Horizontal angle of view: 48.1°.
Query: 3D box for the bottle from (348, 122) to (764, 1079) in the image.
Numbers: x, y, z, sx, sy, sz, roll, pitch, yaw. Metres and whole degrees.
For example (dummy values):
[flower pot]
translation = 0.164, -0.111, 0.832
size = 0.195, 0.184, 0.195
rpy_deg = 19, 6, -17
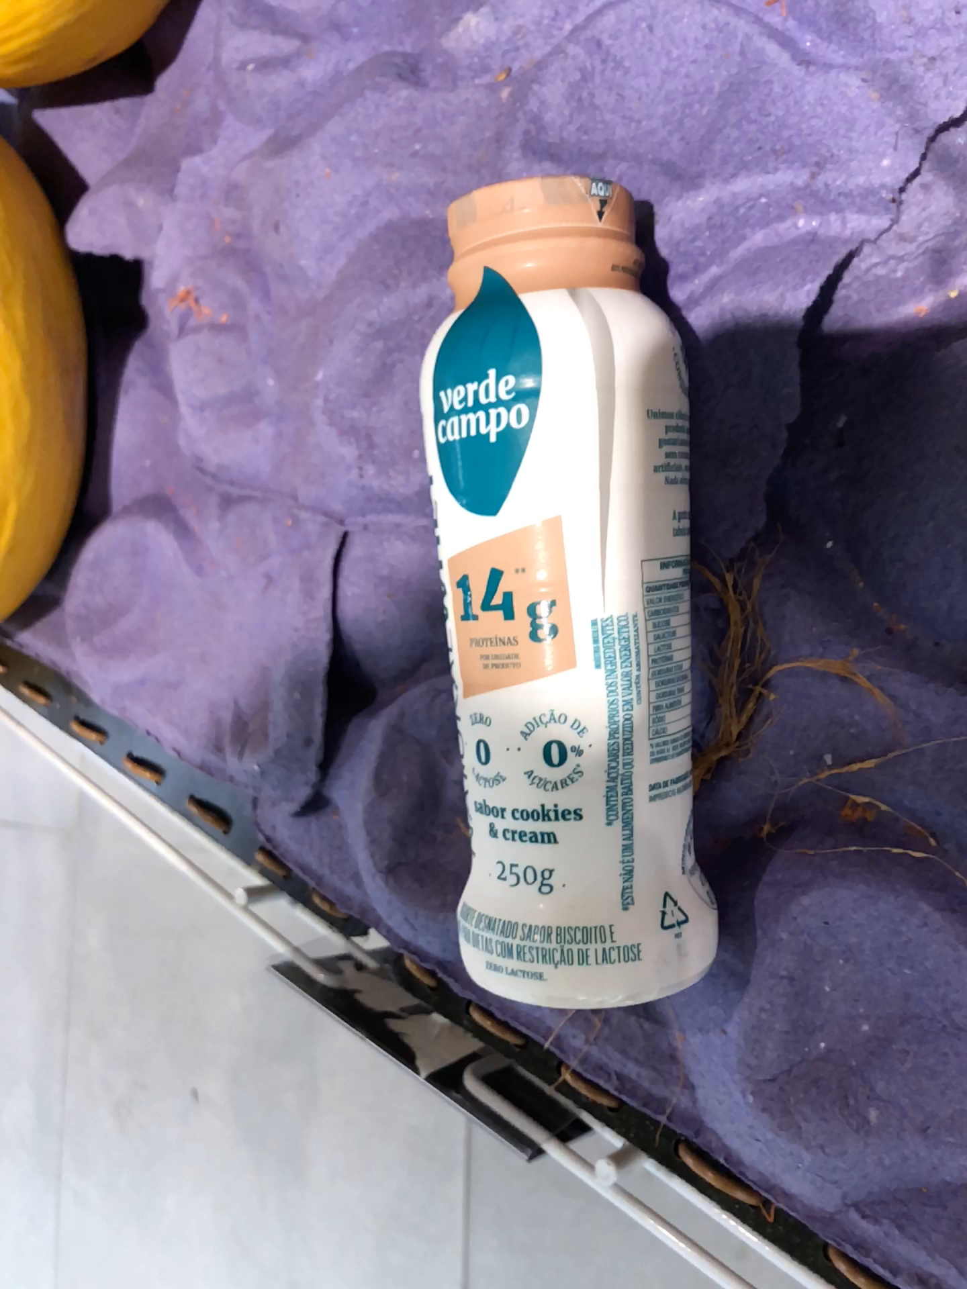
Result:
[bottle]
translation = 0.015, -0.006, 0.214
size = 0.060, 0.040, 0.160
rpy_deg = -2, 94, 33
